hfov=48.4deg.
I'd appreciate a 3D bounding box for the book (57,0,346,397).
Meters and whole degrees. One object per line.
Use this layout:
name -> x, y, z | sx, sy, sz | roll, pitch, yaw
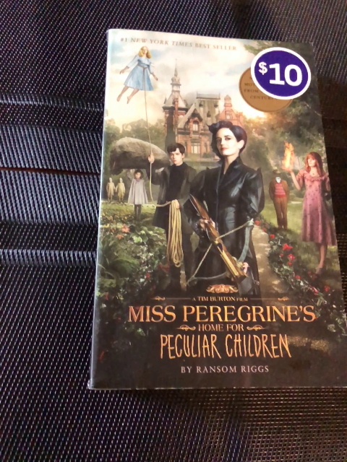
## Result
book -> 0.020, -0.025, 0.246 | 0.160, 0.050, 0.230 | 1, 76, -7
